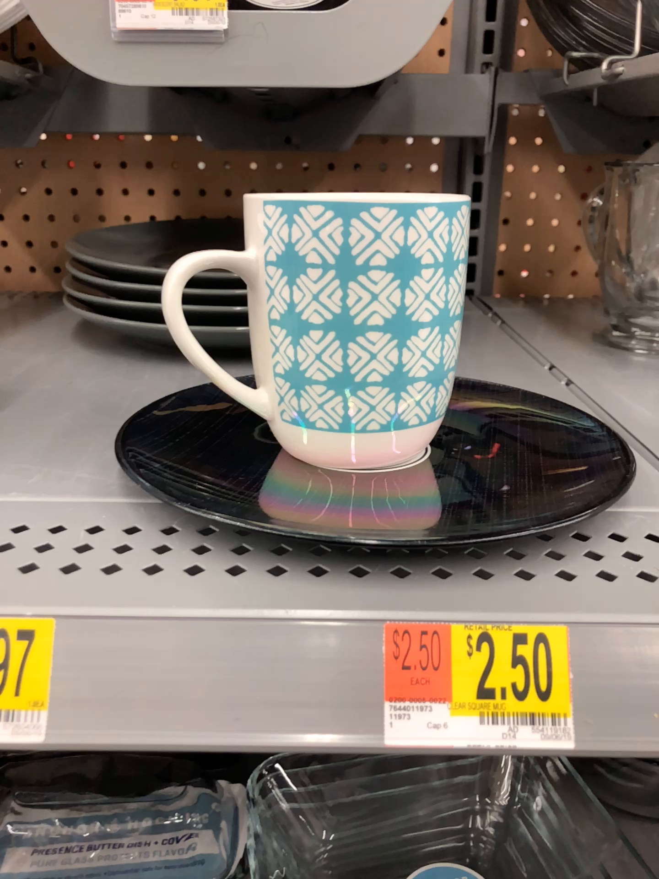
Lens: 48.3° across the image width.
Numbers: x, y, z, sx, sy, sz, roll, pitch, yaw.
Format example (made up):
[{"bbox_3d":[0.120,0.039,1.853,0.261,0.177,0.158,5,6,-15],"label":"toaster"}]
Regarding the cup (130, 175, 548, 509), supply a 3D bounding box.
[{"bbox_3d":[-0.002,-0.046,0.276,0.122,0.098,0.089,-7,22,-22],"label":"cup"}]
